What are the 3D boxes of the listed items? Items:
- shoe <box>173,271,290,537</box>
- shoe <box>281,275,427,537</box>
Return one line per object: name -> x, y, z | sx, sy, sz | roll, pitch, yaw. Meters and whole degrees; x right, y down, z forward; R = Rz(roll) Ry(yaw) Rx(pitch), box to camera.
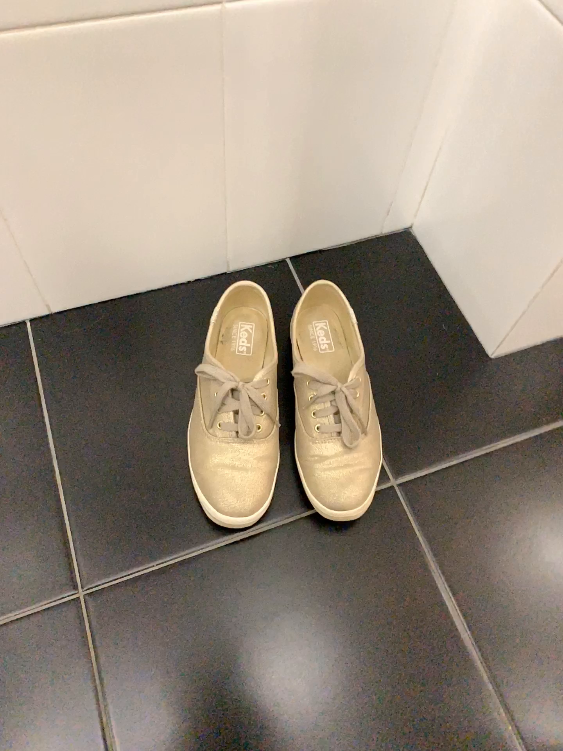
shoe -> -0.046, 0.024, 0.549 | 0.090, 0.100, 0.231 | 1, 60, -5
shoe -> 0.059, 0.025, 0.561 | 0.090, 0.100, 0.231 | -2, 60, -7
